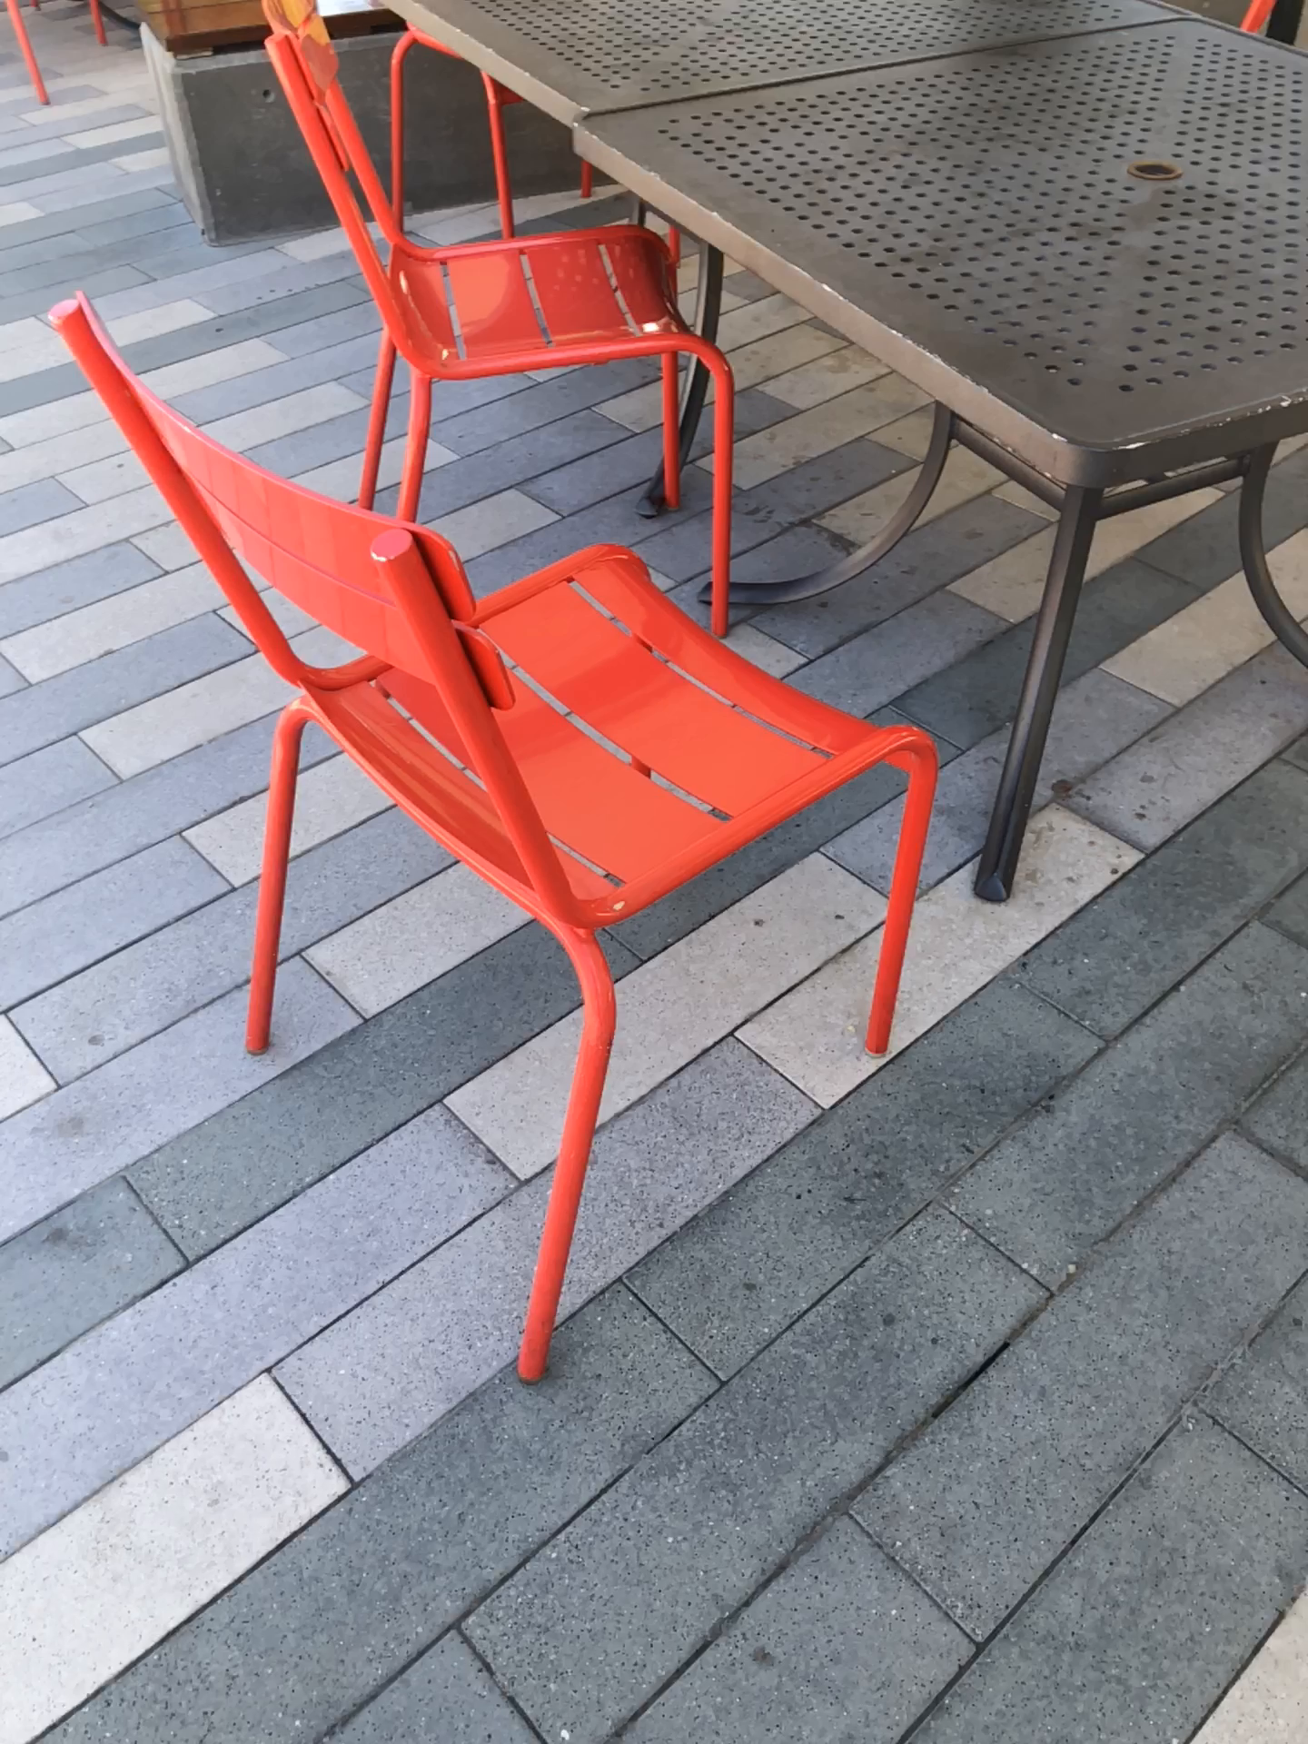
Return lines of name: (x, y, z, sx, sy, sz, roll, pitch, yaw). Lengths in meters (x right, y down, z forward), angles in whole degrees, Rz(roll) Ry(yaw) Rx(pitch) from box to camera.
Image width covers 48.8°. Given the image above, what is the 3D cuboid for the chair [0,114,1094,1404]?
chair: (-0.089, -0.117, 1.450, 0.631, 0.955, 0.612, -31, 49, -28)
